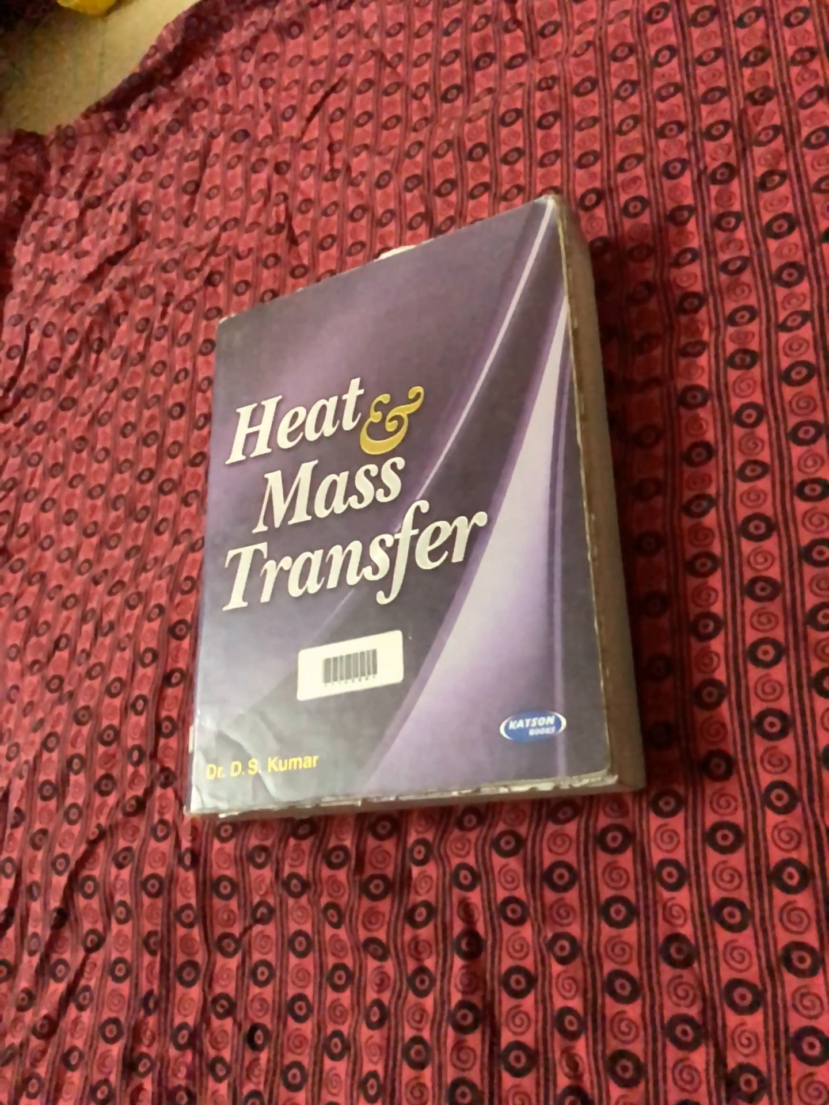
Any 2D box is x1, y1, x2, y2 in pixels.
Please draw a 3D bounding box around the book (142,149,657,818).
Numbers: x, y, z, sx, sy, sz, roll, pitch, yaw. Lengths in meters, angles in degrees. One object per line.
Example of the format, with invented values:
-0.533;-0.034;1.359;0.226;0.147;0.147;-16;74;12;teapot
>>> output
-0.012;-0.018;0.335;0.170;0.040;0.211;-12;67;28;book
